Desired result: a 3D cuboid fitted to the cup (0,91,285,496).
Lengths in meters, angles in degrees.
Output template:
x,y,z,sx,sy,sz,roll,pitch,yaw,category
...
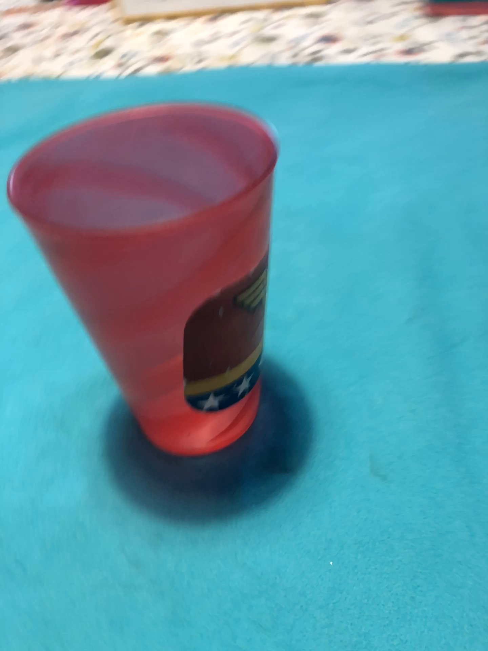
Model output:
x,y,z,sx,sy,sz,roll,pitch,yaw,category
-0.032,-0.009,0.197,0.090,0.109,0.091,-3,43,3,cup
